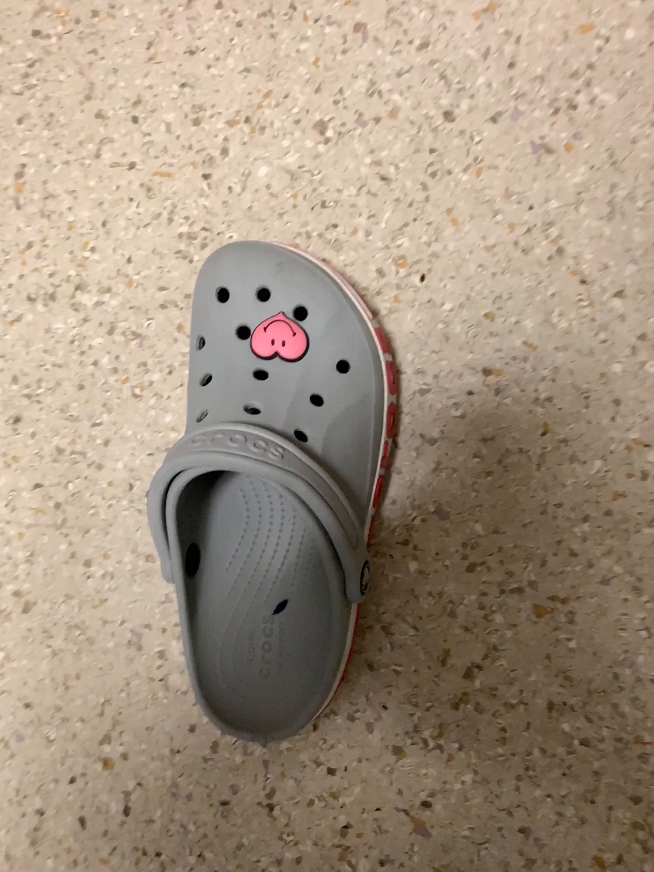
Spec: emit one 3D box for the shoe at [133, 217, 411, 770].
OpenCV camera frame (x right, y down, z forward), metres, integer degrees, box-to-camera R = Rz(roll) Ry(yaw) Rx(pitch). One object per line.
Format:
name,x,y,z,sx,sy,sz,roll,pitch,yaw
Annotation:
shoe,-0.018,0.023,0.331,0.109,0.091,0.226,0,84,11
